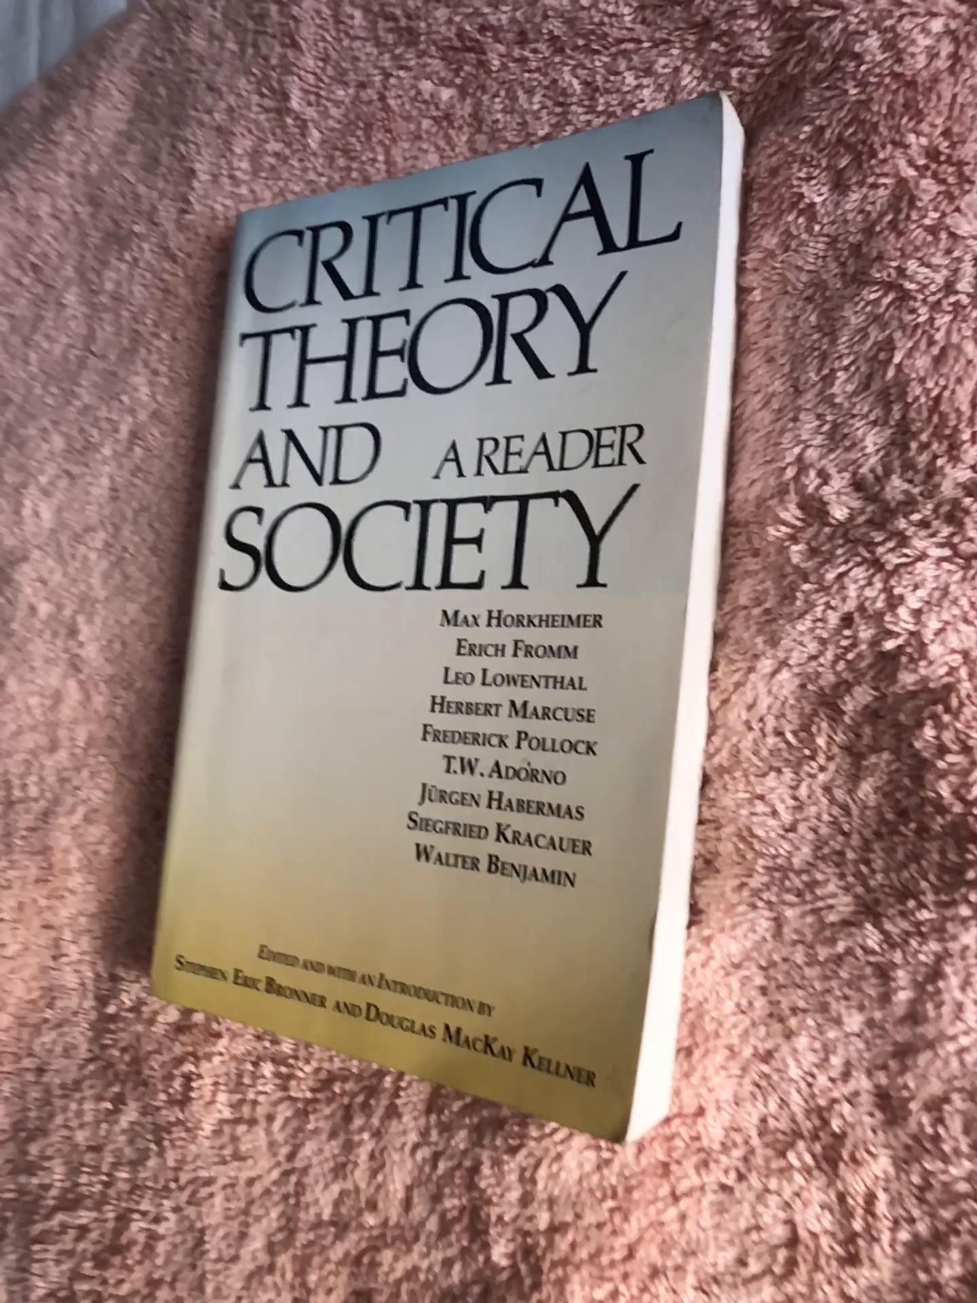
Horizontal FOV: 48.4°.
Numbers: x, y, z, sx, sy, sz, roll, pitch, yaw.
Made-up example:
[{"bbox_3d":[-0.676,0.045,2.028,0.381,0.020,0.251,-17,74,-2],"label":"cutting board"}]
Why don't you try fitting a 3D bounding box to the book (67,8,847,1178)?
[{"bbox_3d":[-0.011,-0.018,0.273,0.170,0.050,0.230,2,82,30],"label":"book"}]
